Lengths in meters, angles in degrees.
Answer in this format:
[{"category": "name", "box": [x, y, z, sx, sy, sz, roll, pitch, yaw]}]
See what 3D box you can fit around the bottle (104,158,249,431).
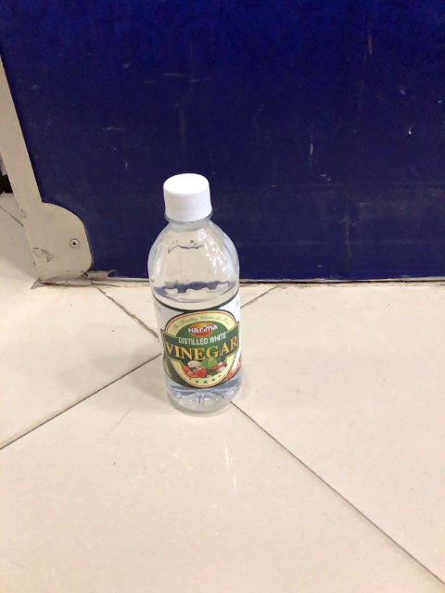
[{"category": "bottle", "box": [-0.027, 0.005, 0.363, 0.080, 0.189, 0.070, -6, 36, -3]}]
